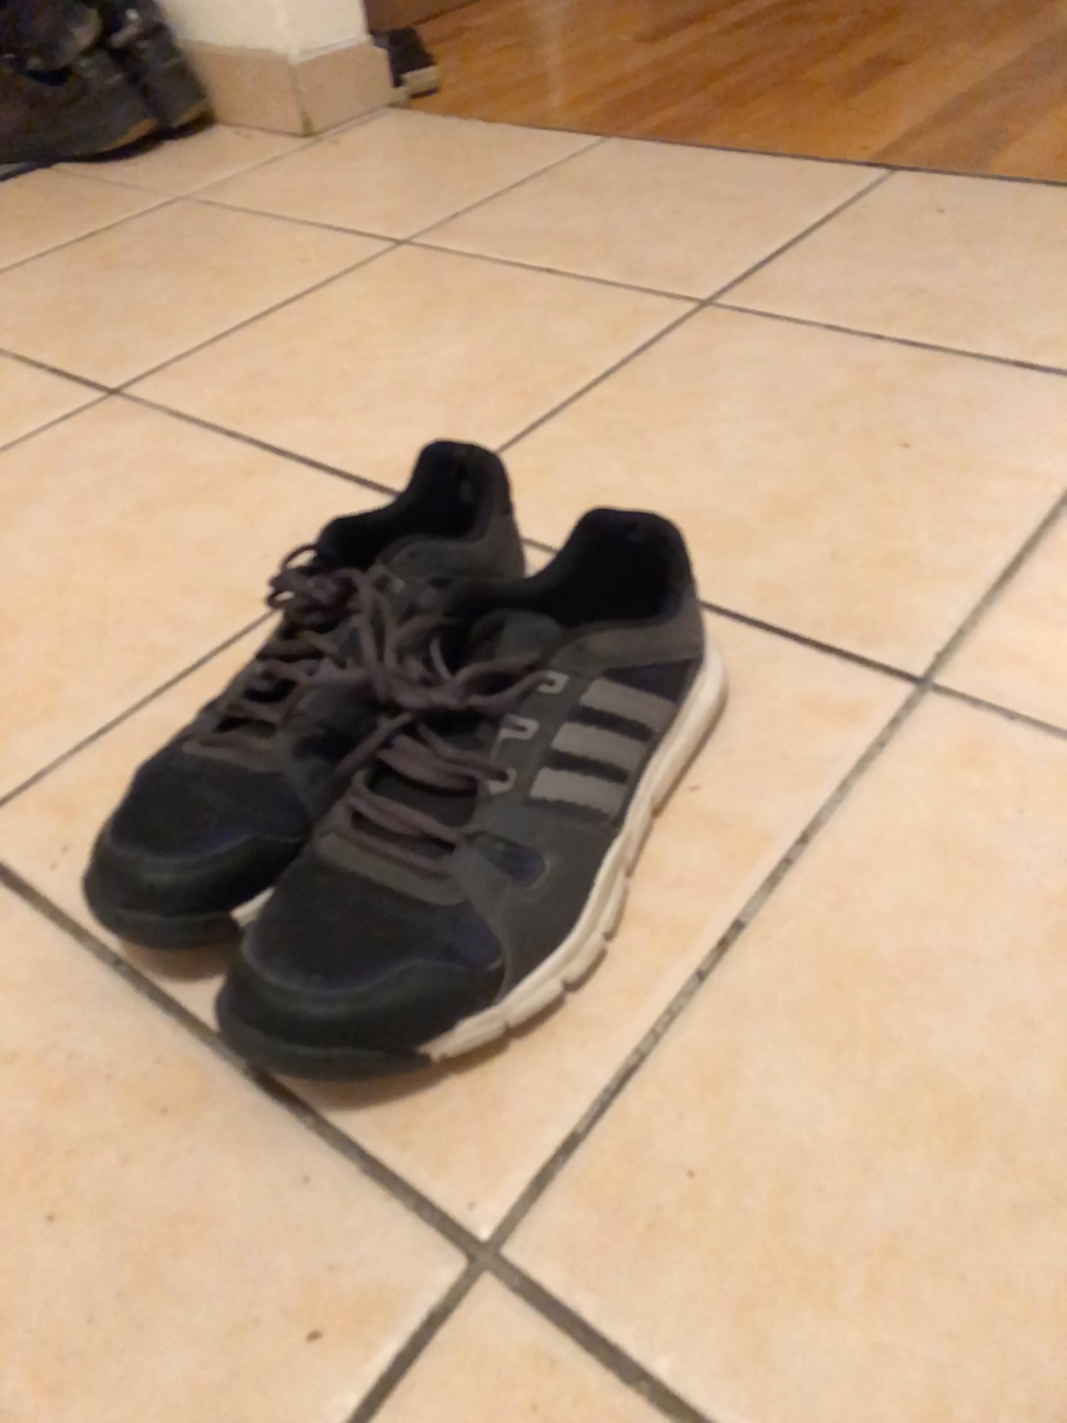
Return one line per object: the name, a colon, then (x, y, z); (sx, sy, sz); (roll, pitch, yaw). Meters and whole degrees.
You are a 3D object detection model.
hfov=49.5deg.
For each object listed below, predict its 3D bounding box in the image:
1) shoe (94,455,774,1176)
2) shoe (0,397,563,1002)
shoe: (-0.015, 0.017, 0.469); (0.120, 0.099, 0.282); (17, 47, 27)
shoe: (-0.106, -0.025, 0.529); (0.110, 0.099, 0.282); (21, 48, 24)
